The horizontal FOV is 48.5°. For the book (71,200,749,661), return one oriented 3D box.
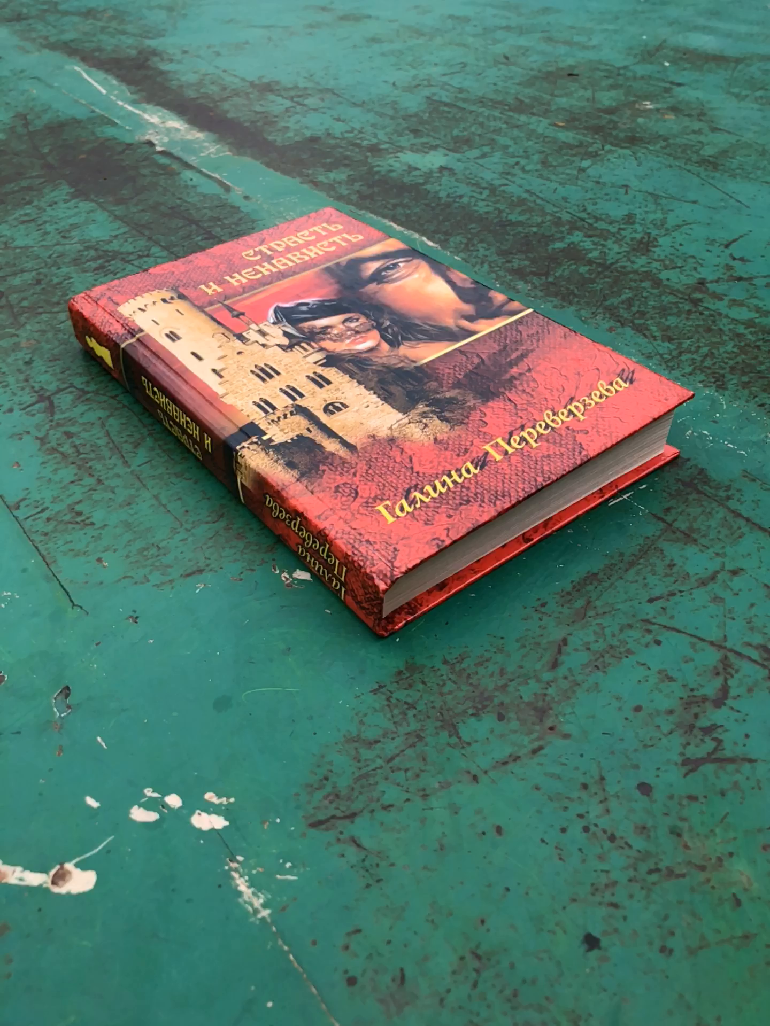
[{"bbox_3d":[-0.002,-0.054,0.319,0.144,0.030,0.210,-28,48,-28],"label":"book"}]
